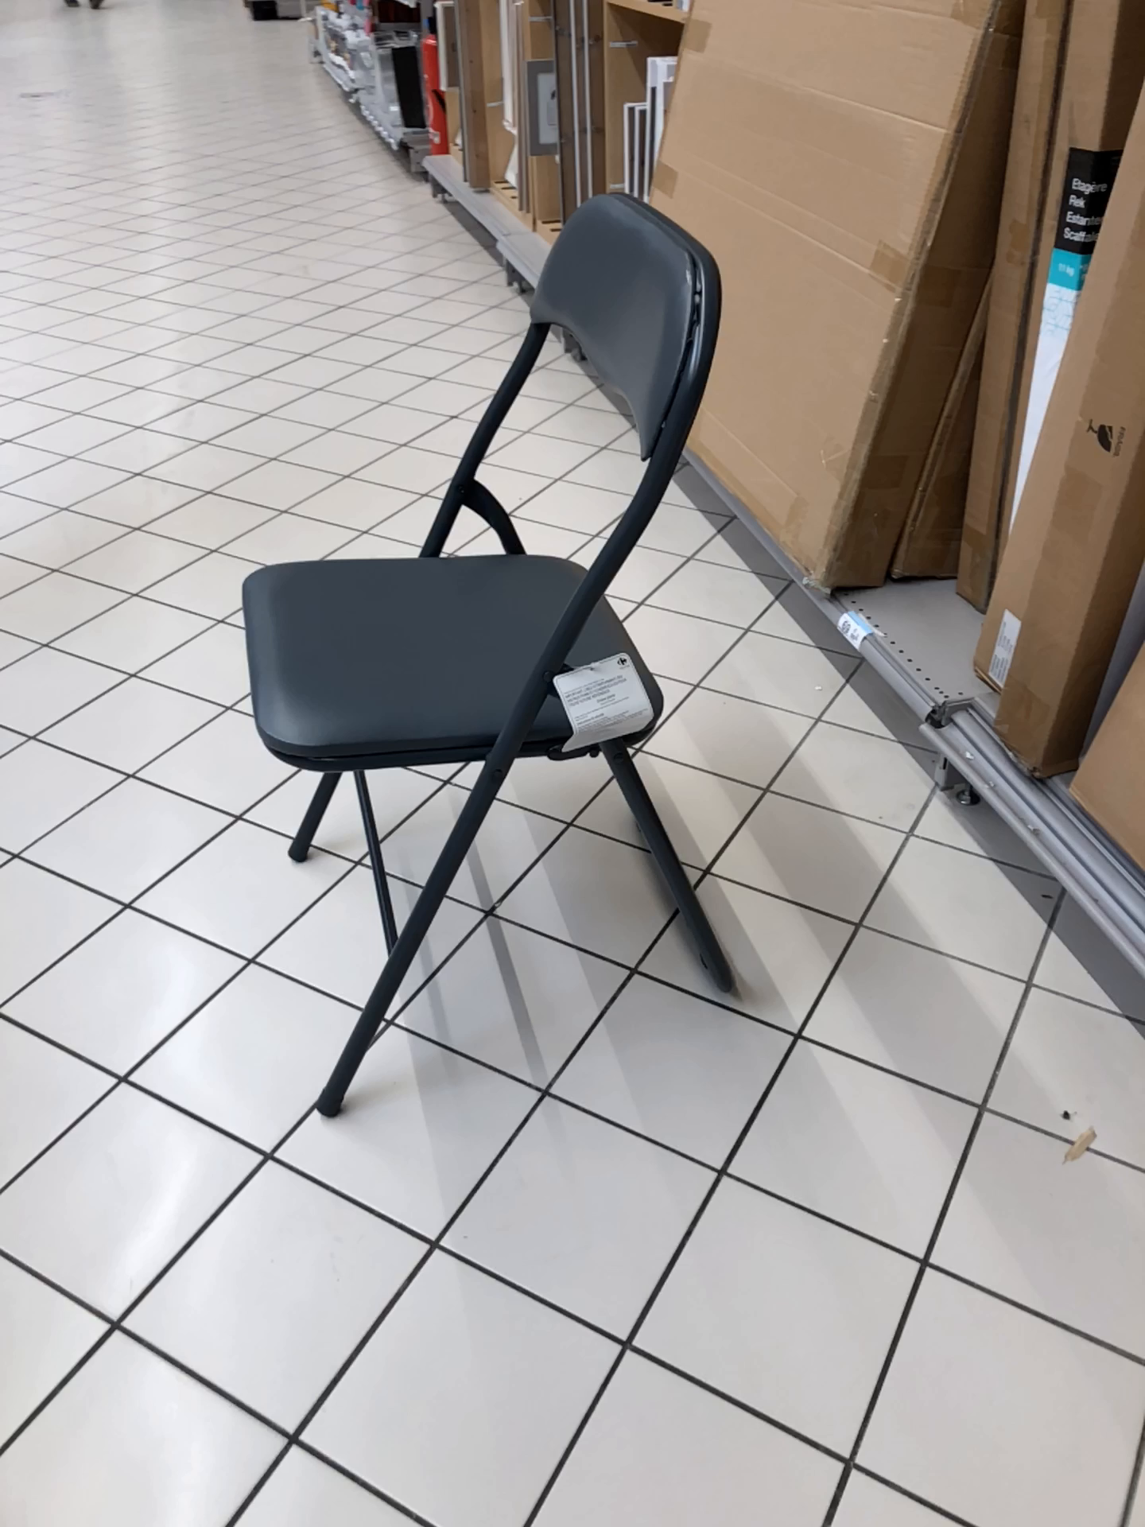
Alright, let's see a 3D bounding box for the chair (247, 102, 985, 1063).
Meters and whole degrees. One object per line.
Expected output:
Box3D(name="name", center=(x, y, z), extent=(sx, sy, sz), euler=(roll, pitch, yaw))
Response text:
Box3D(name="chair", center=(-0.023, -0.197, 1.273), extent=(0.501, 0.755, 0.553), euler=(-6, 38, -11))
